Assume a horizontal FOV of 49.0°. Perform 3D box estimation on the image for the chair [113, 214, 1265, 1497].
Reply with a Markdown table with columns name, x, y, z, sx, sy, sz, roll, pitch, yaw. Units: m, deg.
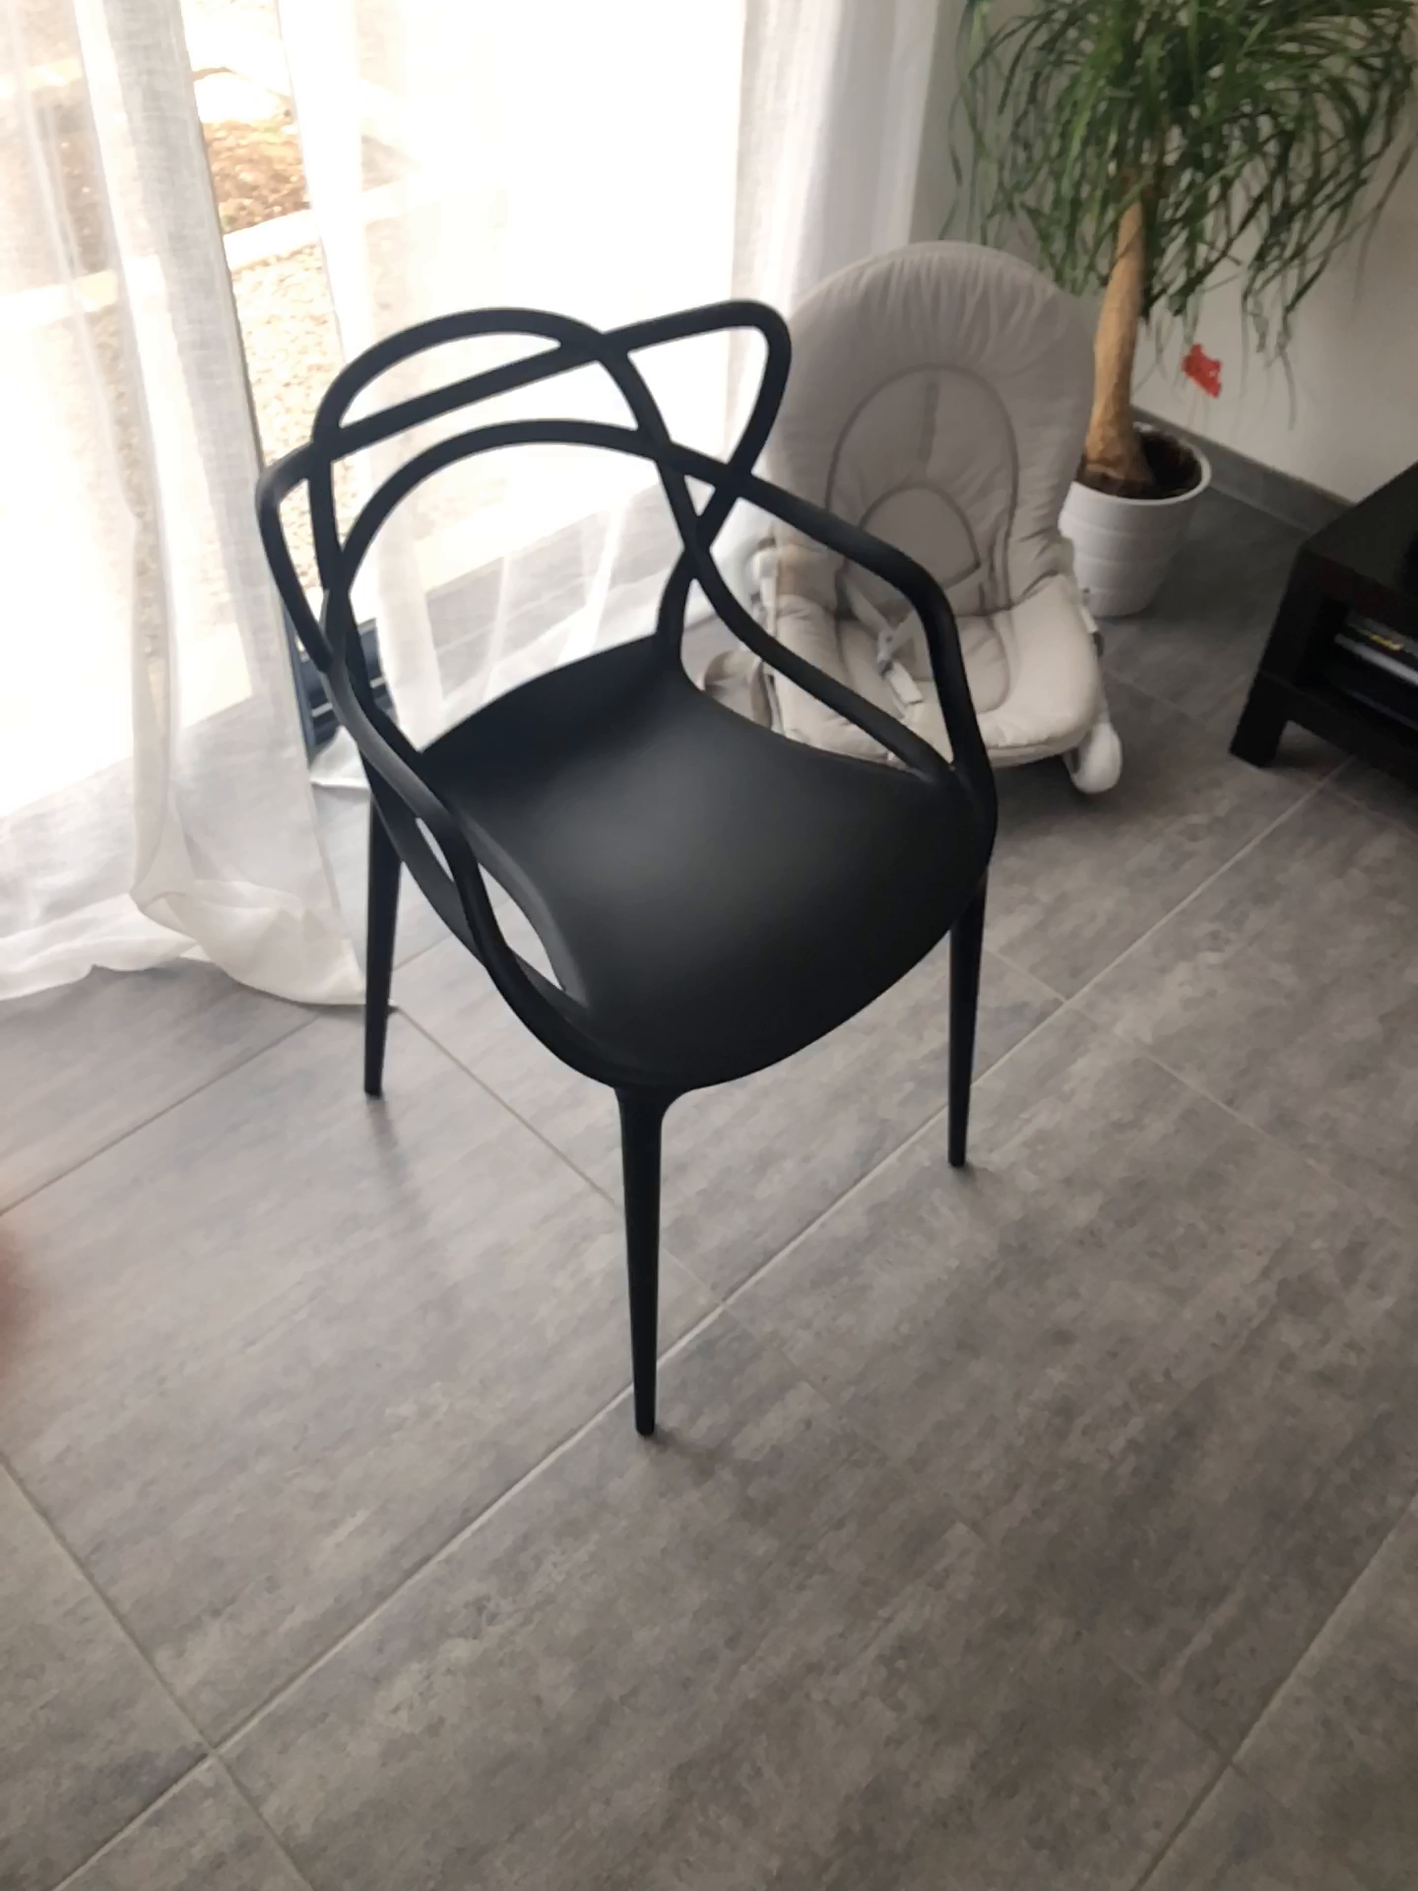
| name | x | y | z | sx | sy | sz | roll | pitch | yaw |
| --- | --- | --- | --- | --- | --- | --- | --- | --- | --- |
| chair | -0.030 | -0.078 | 1.383 | 0.565 | 0.795 | 0.586 | -33 | 56 | -30 |
